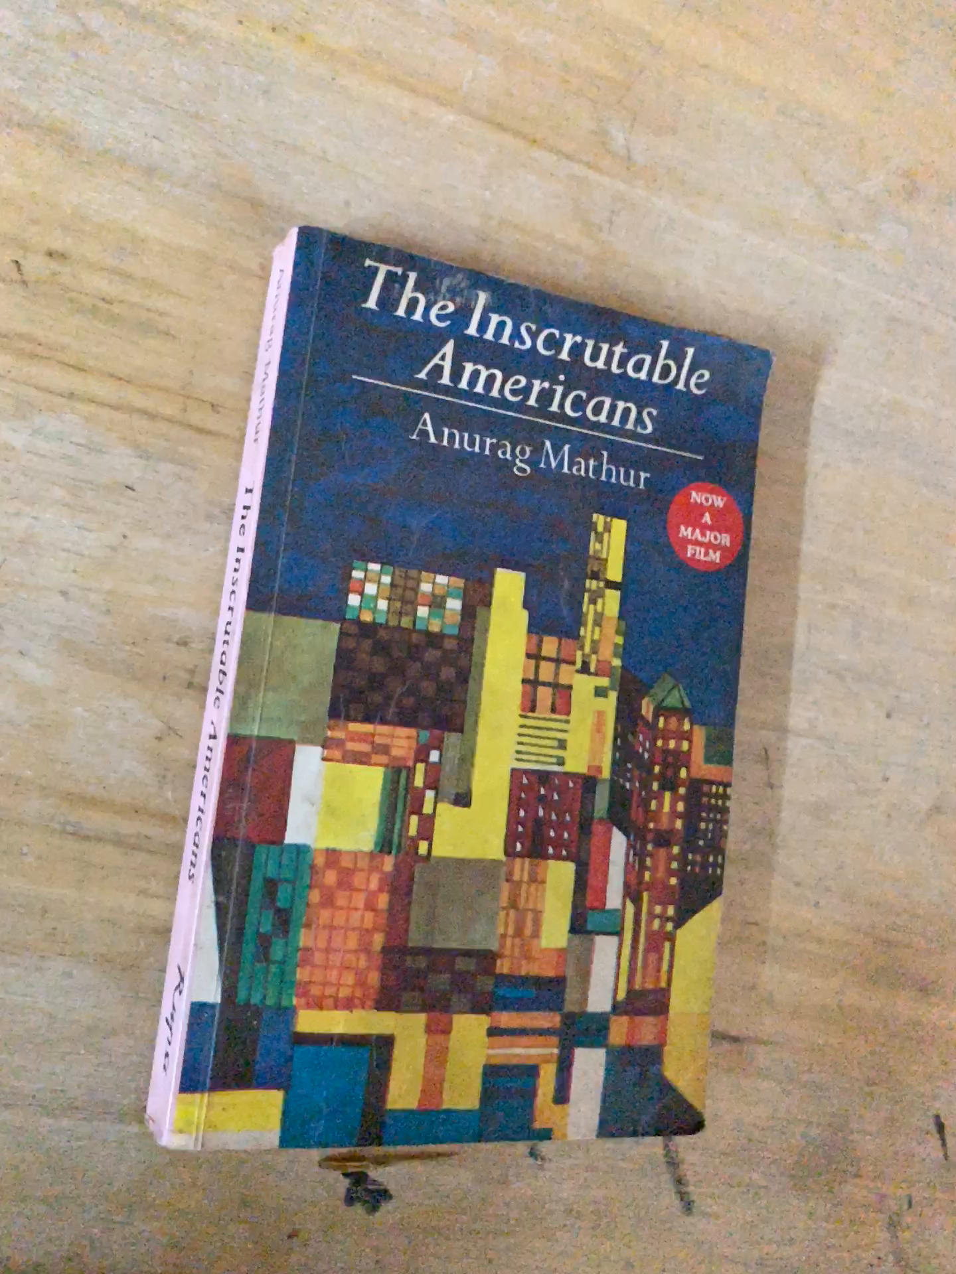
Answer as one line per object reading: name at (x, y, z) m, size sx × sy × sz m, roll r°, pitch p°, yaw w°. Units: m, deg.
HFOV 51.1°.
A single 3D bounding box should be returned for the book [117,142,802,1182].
book at (0.003, 0.008, 0.206) m, size 0.120 × 0.030 × 0.180 m, roll 9°, pitch 82°, yaw -20°
